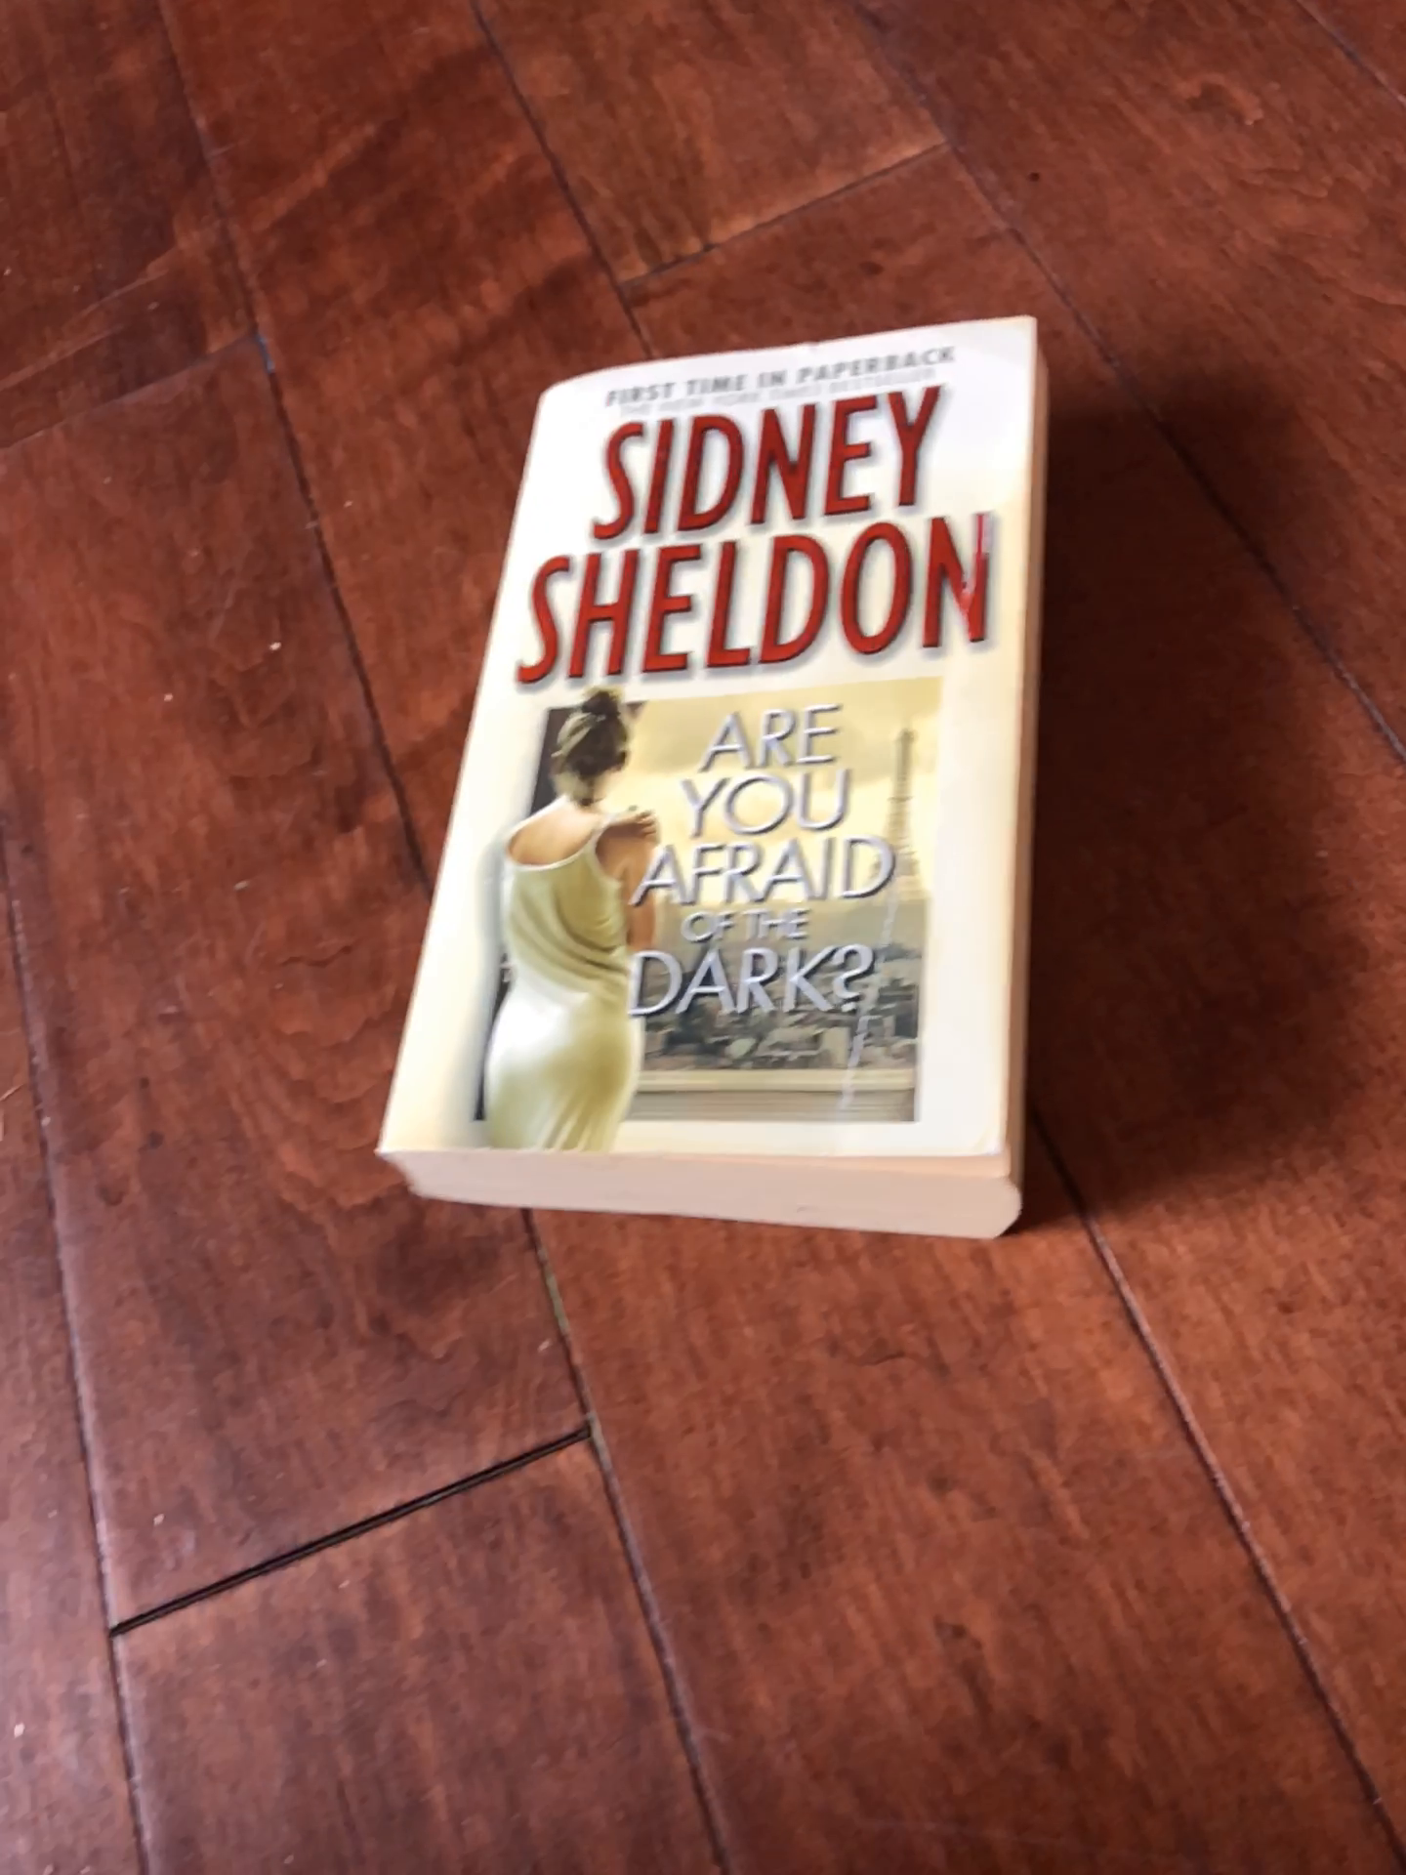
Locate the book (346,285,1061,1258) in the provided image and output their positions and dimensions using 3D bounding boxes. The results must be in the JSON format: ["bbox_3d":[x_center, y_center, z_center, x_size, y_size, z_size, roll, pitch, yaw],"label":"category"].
[{"bbox_3d":[0.009,-0.036,0.298,0.108,0.040,0.180,-1,63,18],"label":"book"}]
